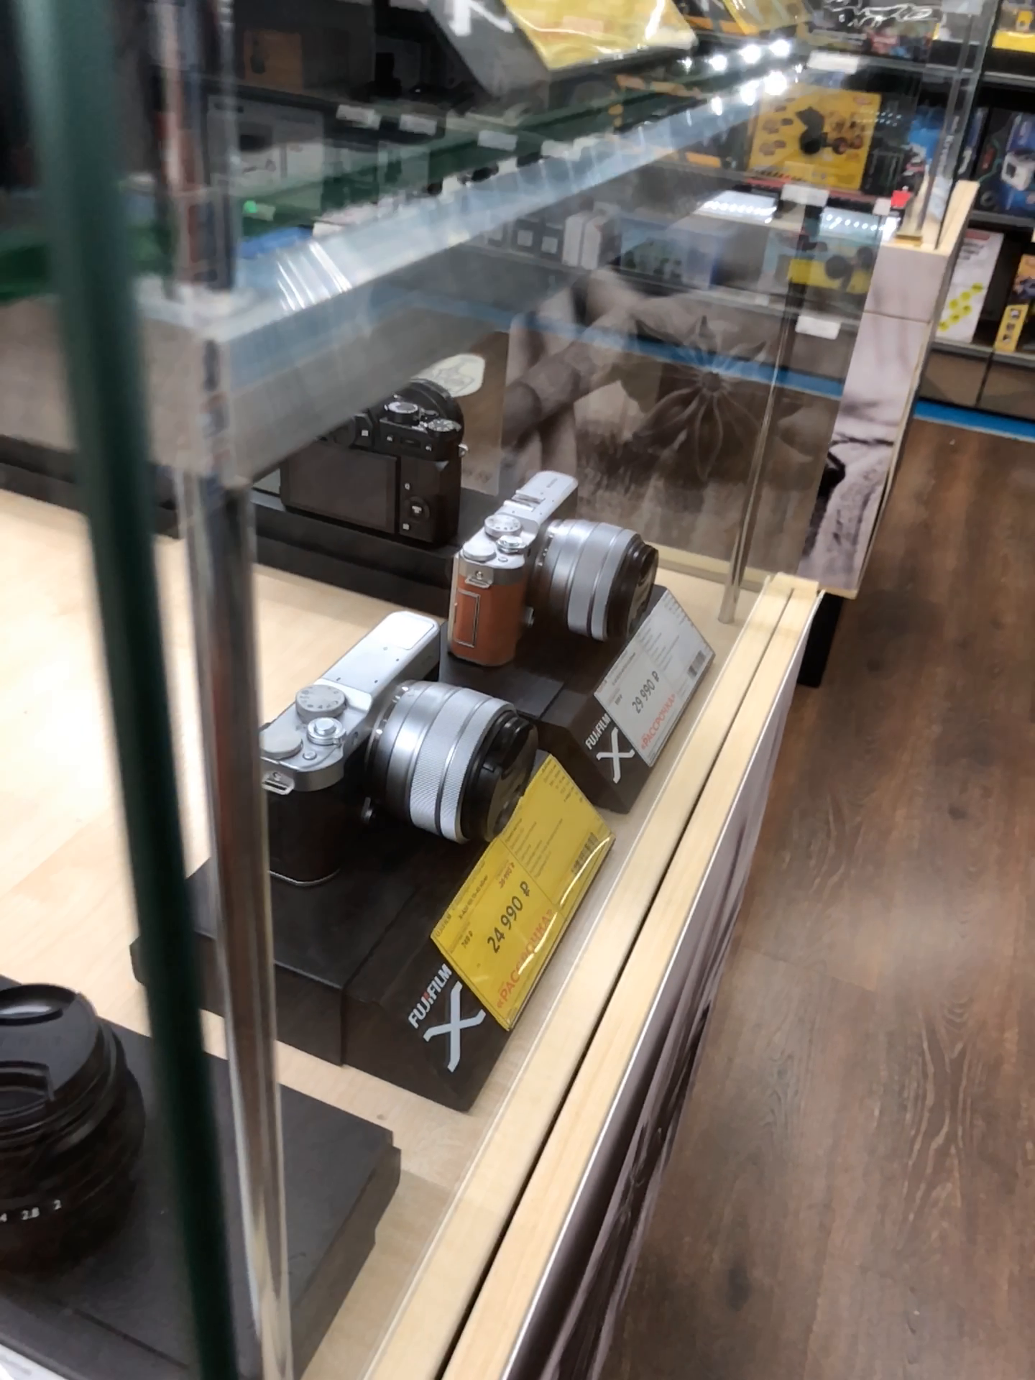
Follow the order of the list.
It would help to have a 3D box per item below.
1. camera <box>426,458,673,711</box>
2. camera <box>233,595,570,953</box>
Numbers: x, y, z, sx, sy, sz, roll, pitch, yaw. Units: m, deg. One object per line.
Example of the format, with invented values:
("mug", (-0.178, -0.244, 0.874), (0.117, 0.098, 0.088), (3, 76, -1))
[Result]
("camera", (0.020, -0.063, 0.629), (0.088, 0.072, 0.129), (17, 35, 17))
("camera", (-0.044, 0.029, 0.476), (0.088, 0.072, 0.121), (17, 35, 17))
